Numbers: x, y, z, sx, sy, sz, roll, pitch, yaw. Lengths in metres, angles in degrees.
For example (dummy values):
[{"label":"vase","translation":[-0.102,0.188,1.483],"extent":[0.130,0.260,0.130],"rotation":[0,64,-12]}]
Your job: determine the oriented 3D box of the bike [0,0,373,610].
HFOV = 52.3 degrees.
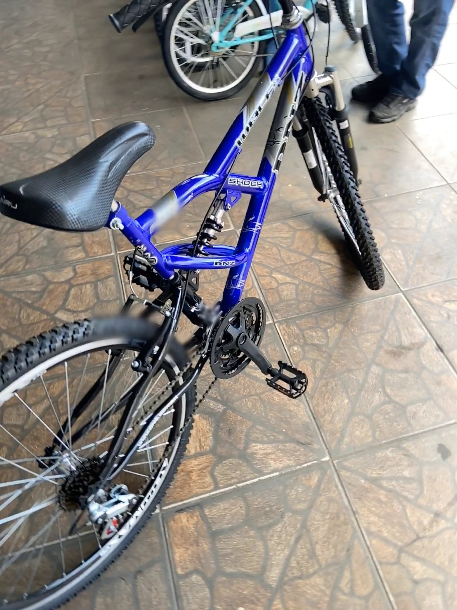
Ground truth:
[{"label":"bike","translation":[-0.238,-0.173,1.130],"extent":[0.515,1.020,1.616],"rotation":[23,56,20]}]
